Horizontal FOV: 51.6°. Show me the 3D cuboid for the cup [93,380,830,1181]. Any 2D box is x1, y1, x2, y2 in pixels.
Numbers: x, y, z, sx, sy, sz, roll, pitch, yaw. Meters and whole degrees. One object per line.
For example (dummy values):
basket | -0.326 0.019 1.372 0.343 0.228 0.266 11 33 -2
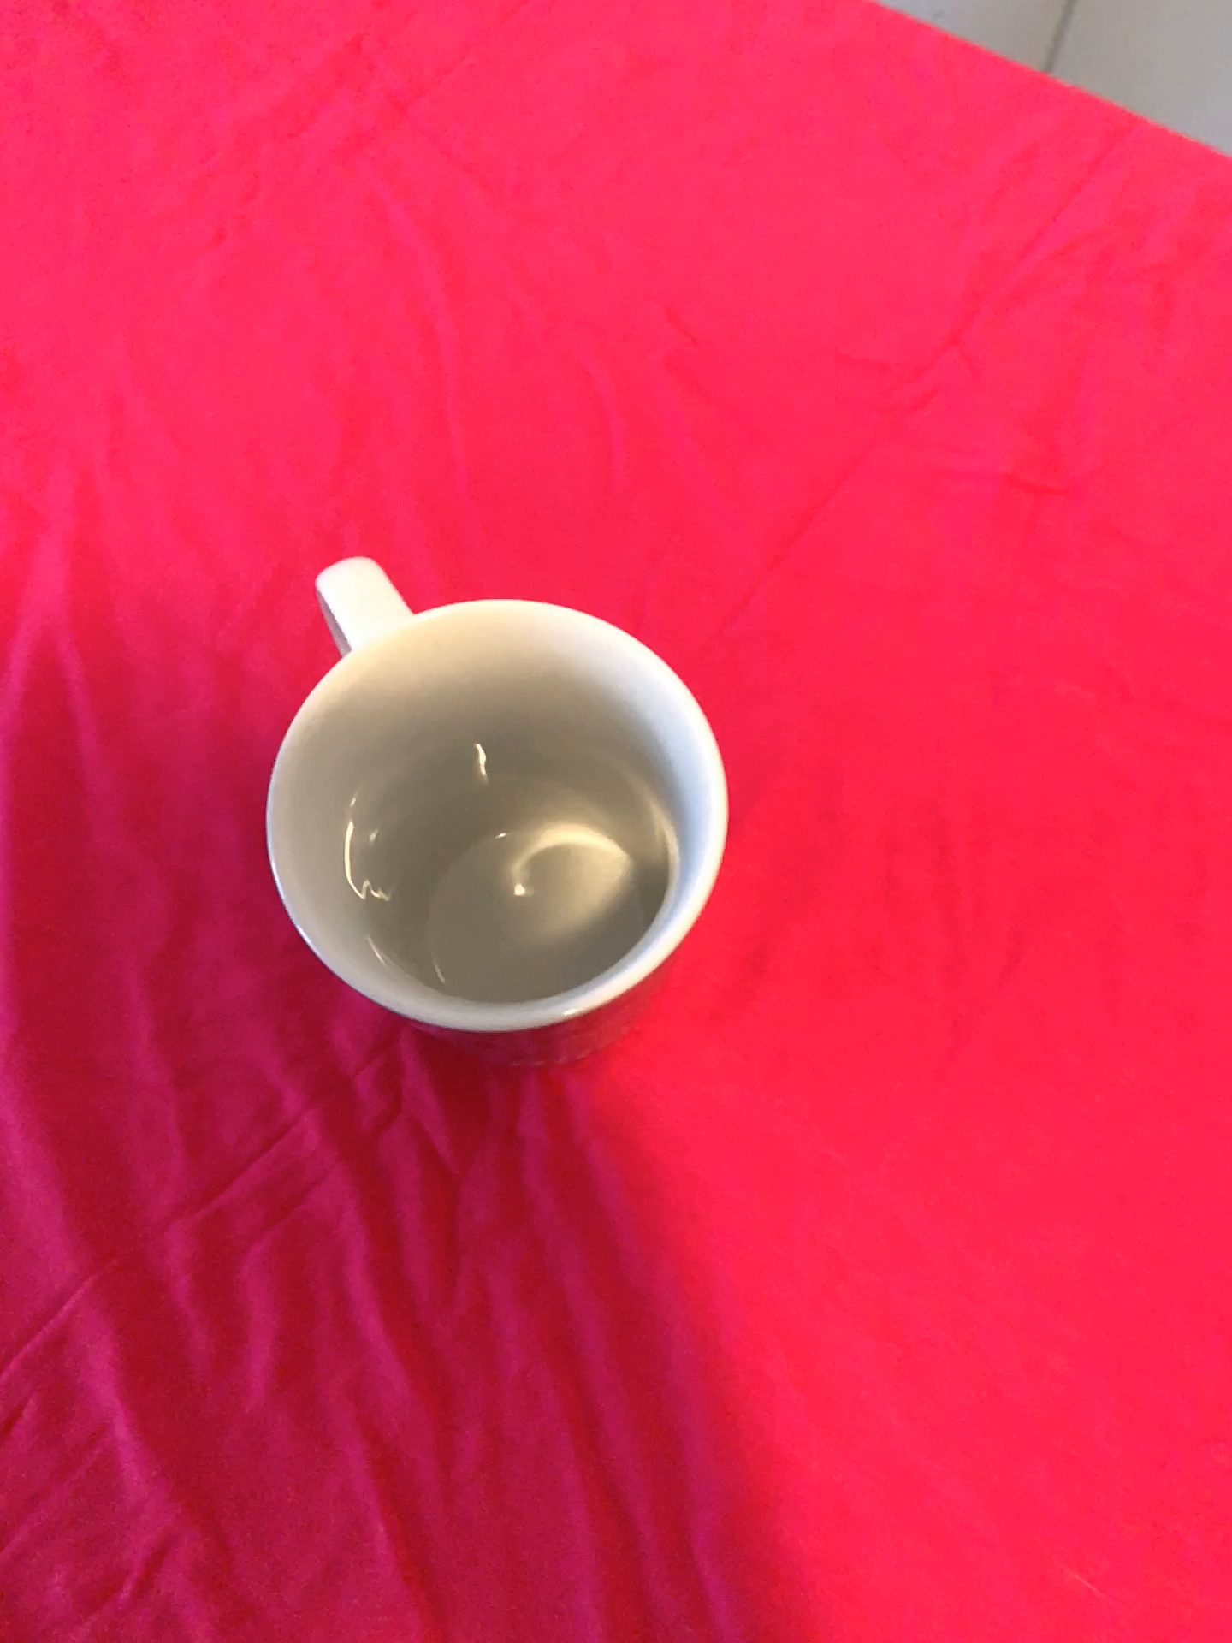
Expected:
cup | -0.028 -0.001 0.259 0.080 0.100 0.110 -30 72 -10
